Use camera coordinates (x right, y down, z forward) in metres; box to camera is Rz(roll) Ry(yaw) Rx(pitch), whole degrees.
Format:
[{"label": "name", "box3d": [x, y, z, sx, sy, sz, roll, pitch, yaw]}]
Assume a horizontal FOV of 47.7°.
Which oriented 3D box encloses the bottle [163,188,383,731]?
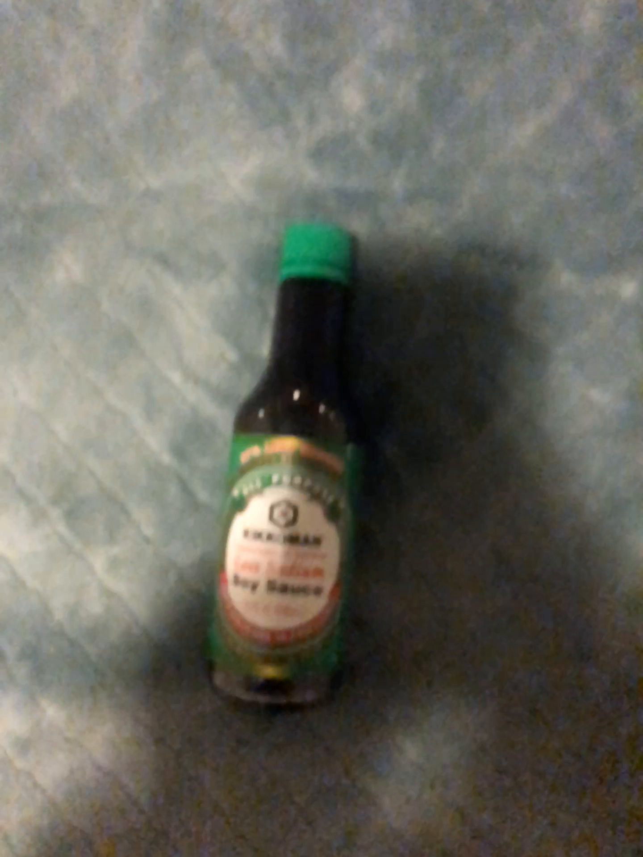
[{"label": "bottle", "box3d": [-0.018, 0.011, 0.317, 0.070, 0.060, 0.210, 4, 85, 1]}]
